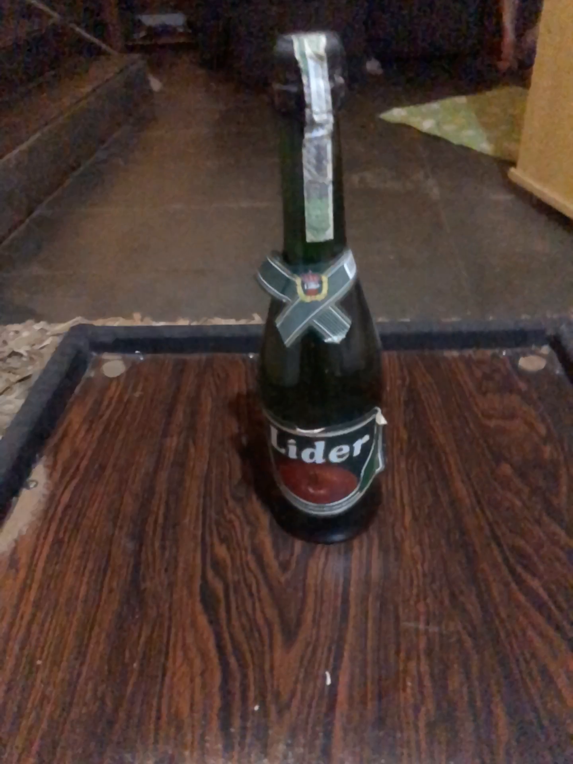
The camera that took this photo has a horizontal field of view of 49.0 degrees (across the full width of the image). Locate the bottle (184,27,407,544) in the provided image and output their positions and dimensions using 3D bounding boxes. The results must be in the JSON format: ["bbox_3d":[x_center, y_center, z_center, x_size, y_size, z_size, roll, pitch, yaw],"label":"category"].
[{"bbox_3d":[0.016,-0.035,0.366,0.090,0.288,0.081,1,36,8],"label":"bottle"}]
